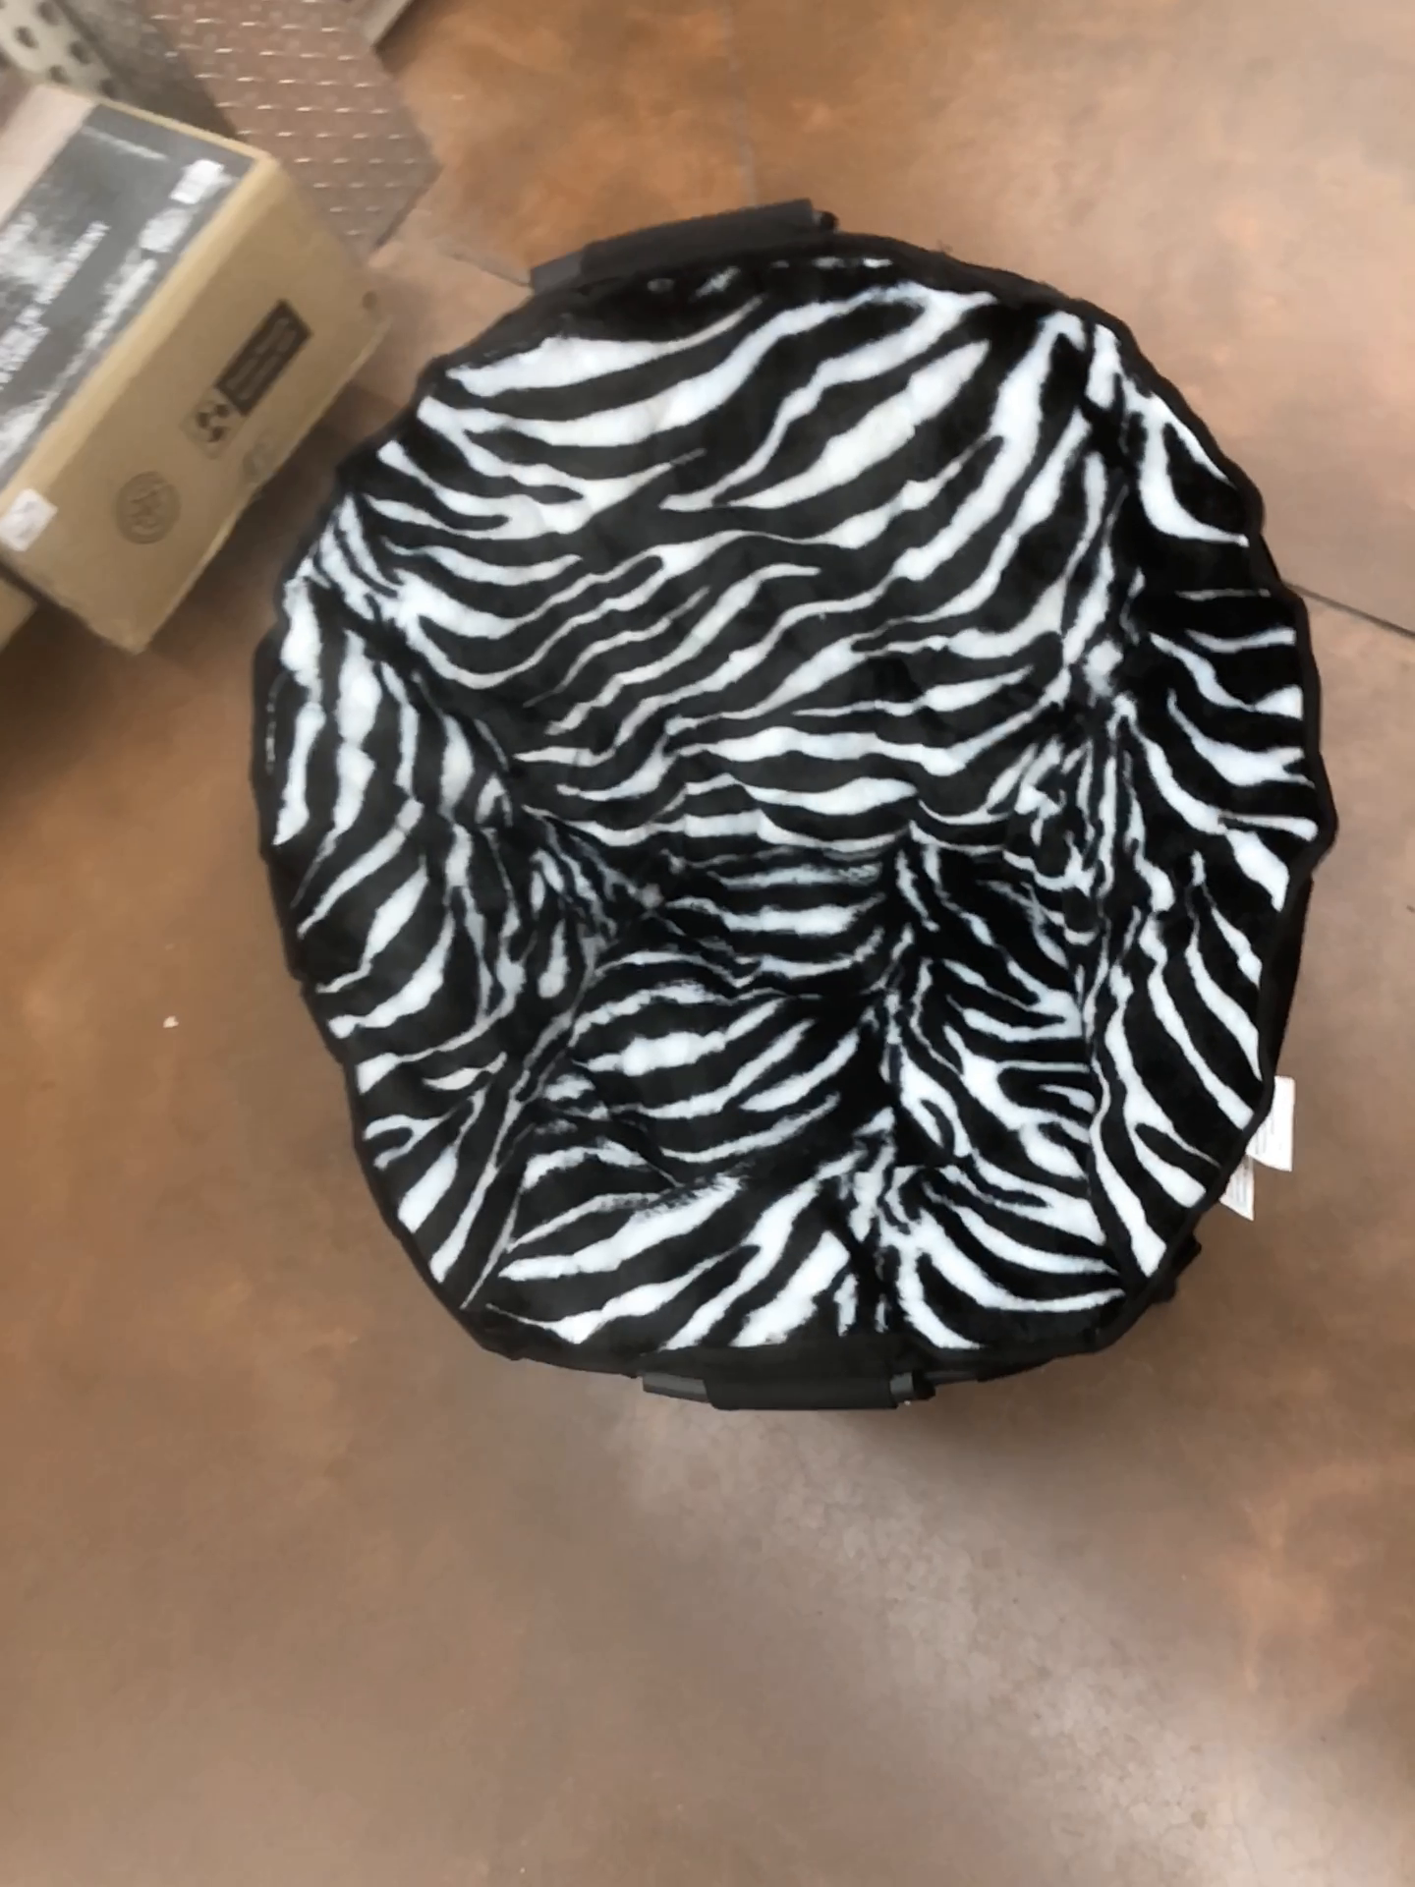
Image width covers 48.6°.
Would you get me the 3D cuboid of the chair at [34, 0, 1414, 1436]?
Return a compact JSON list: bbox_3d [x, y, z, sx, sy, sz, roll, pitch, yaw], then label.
[{"bbox_3d":[0.107,-0.049,0.957,0.611,0.599,0.600,-4,67,19],"label":"chair"}]
